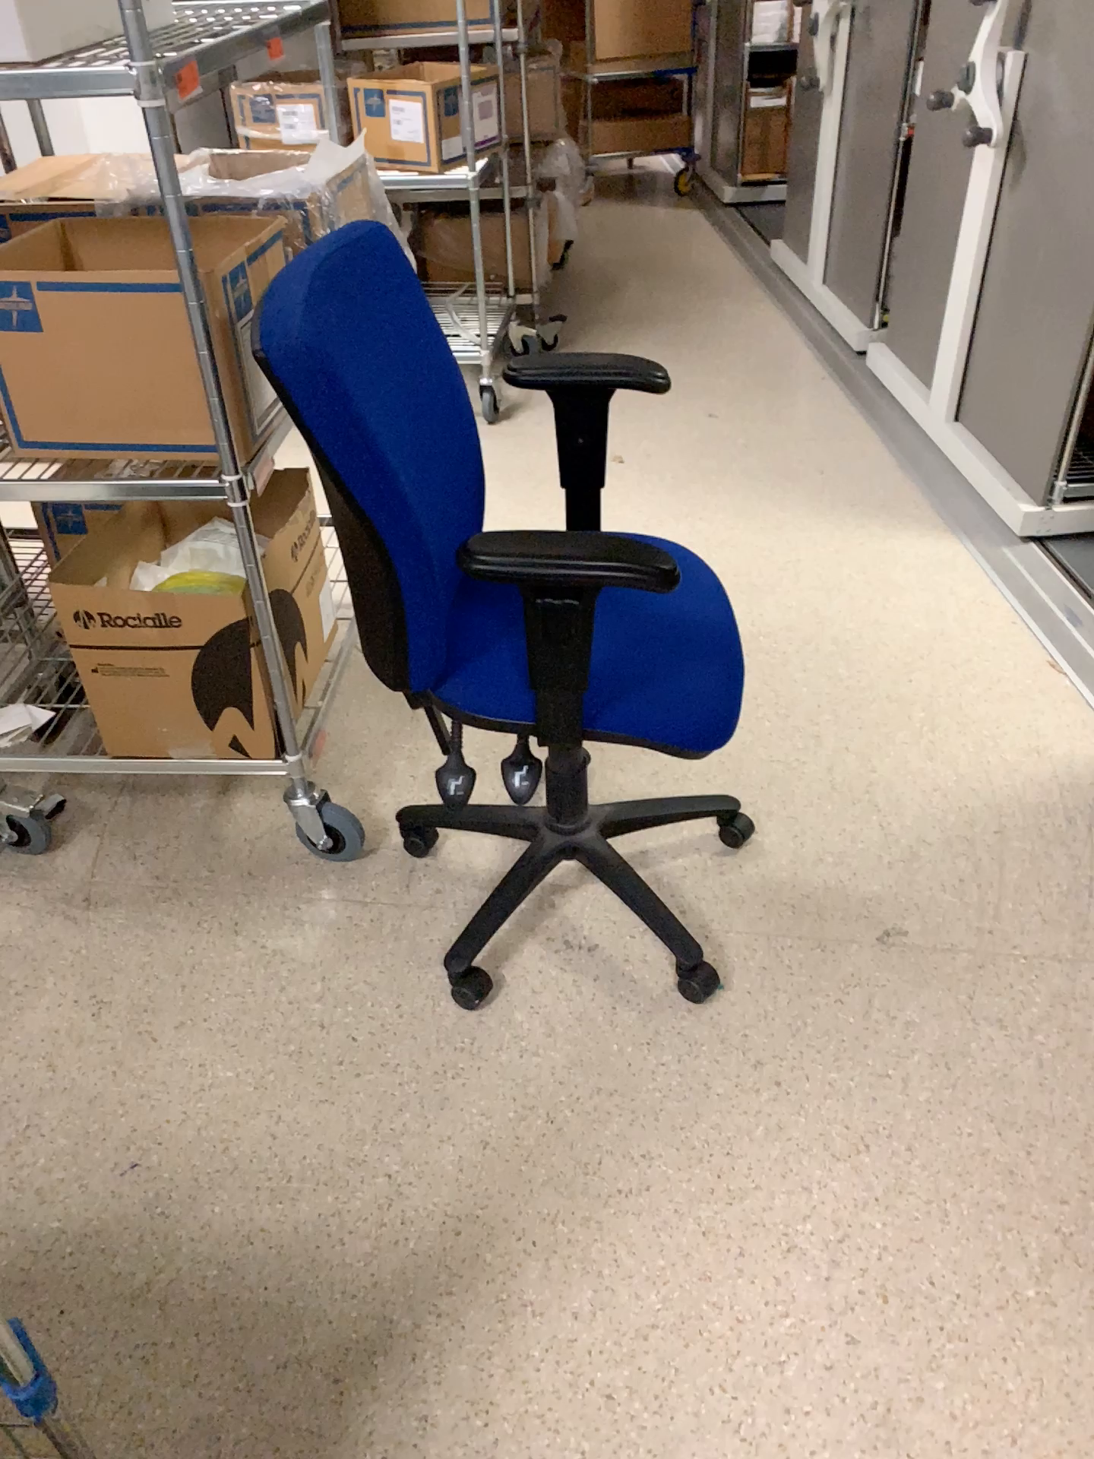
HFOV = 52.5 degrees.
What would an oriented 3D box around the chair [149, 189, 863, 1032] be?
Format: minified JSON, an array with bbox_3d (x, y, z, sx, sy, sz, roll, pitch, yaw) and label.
[{"bbox_3d":[0.001,-0.171,1.581,0.666,0.949,0.685,1,37,6],"label":"chair"}]
